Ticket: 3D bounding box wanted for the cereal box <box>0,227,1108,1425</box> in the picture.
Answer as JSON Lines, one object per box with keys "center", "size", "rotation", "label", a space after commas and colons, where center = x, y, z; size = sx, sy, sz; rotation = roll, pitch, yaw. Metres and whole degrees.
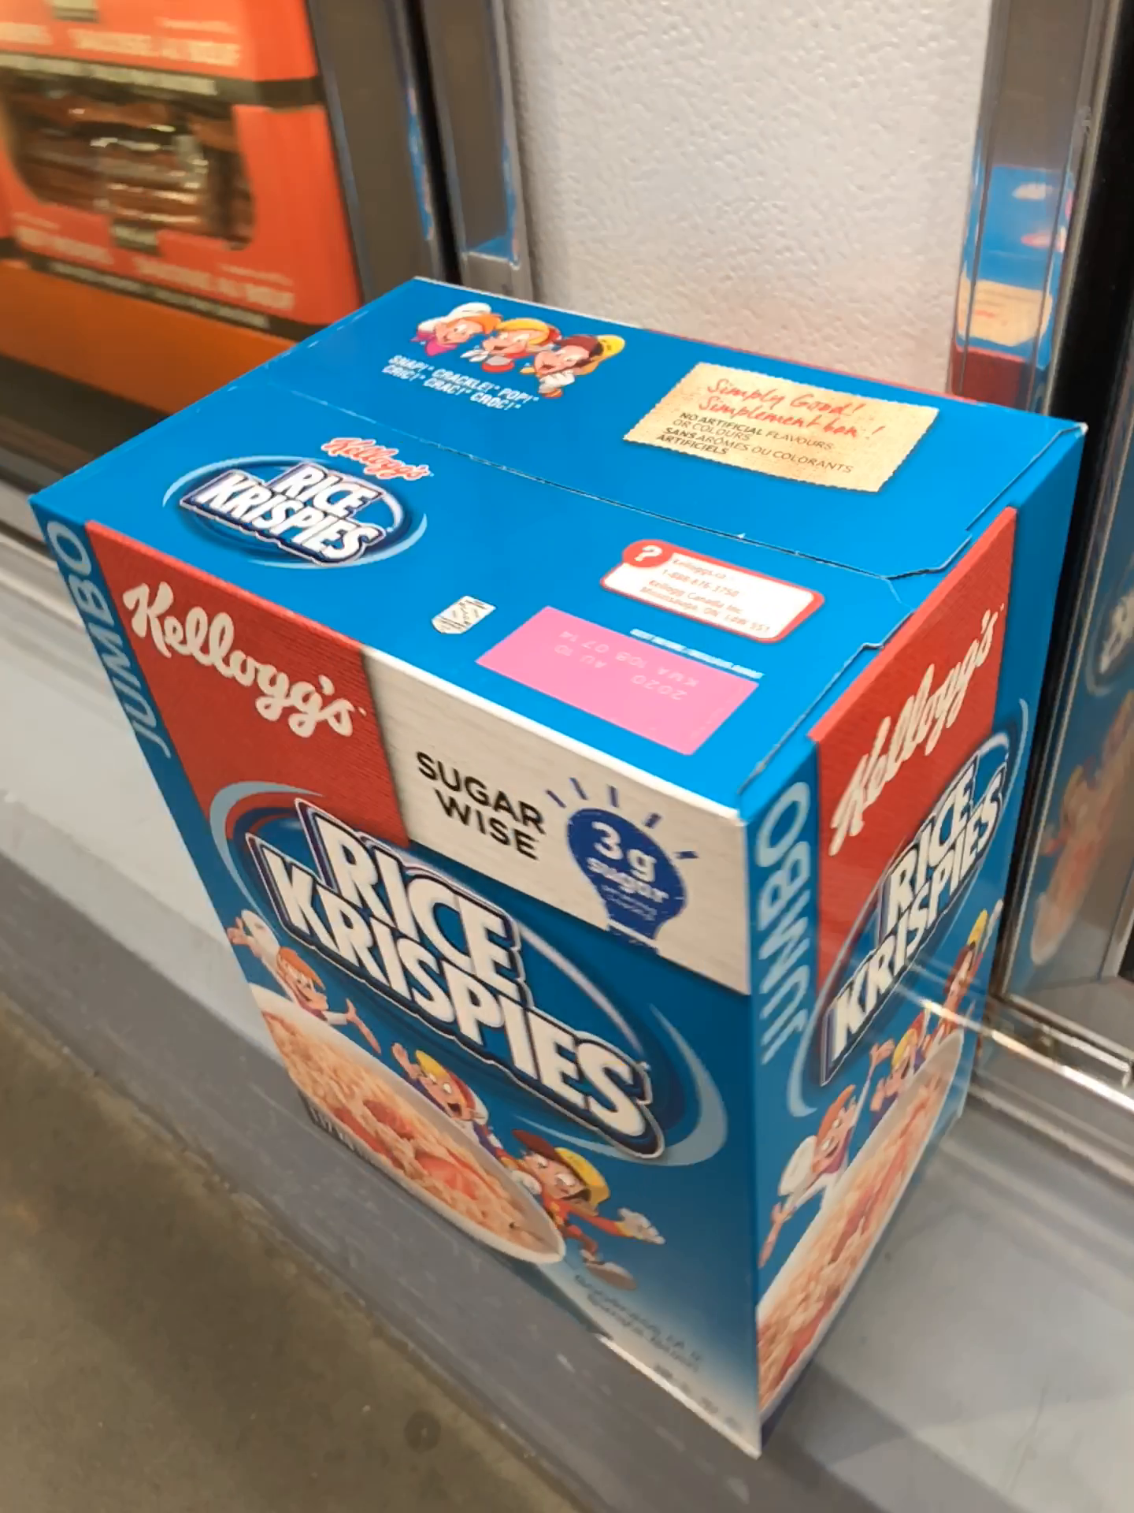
{"center": [0.007, 0.027, 0.431], "size": [0.241, 0.319, 0.160], "rotation": [24, 53, 31], "label": "cereal box"}
